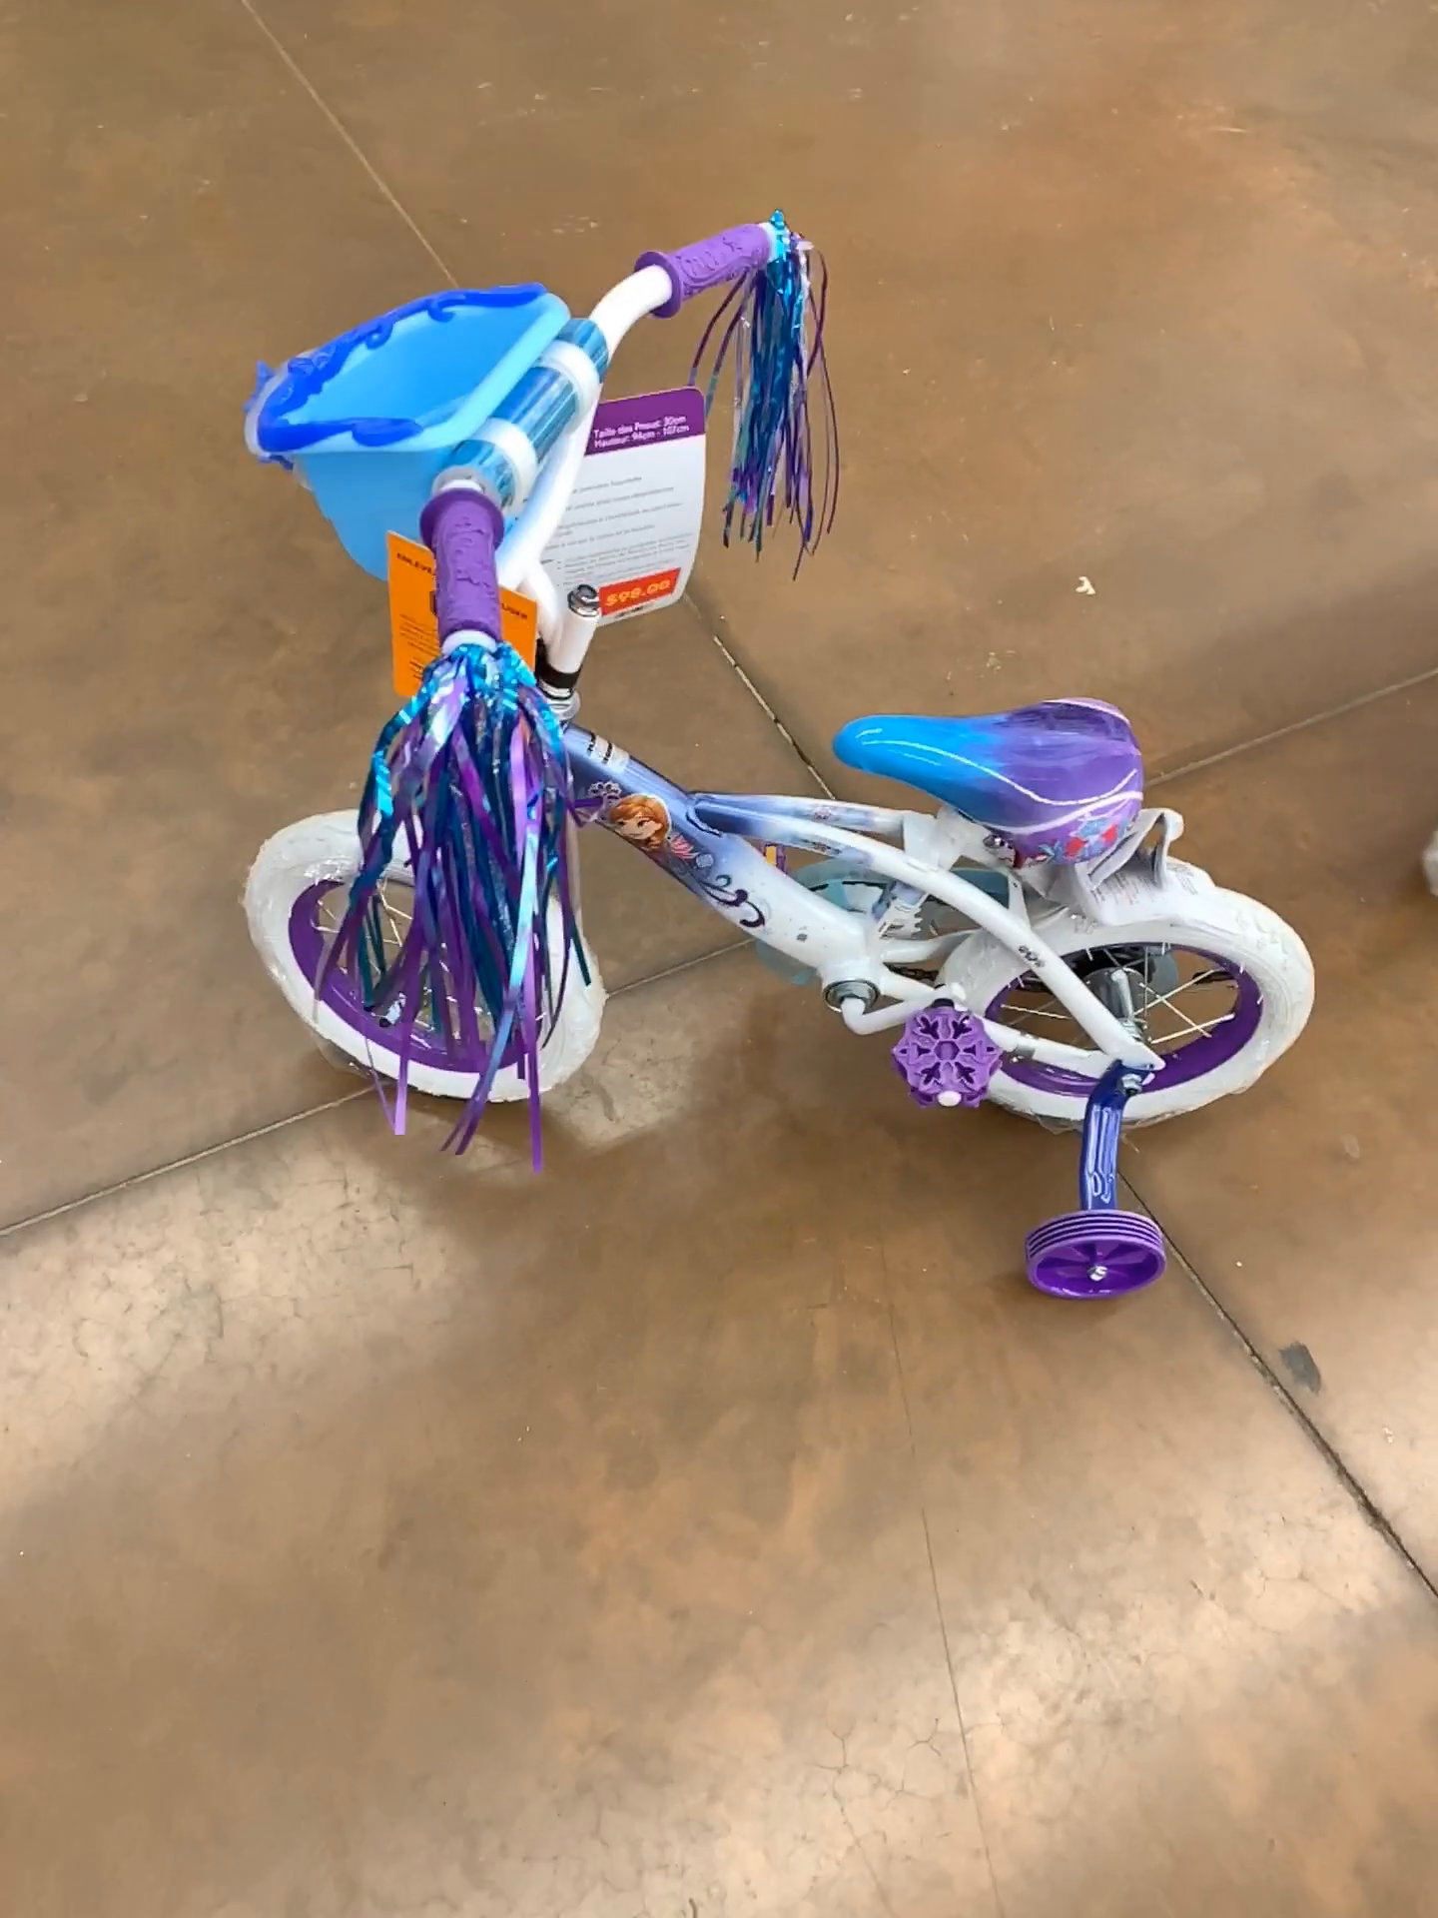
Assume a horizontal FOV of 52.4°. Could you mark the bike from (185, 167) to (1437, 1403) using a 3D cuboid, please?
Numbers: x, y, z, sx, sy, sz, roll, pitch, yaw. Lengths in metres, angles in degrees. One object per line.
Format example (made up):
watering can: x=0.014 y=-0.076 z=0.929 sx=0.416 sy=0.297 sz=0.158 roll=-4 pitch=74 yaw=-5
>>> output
bike: x=0.129 y=-0.067 z=0.965 sx=0.651 sy=0.643 sz=0.474 roll=1 pitch=54 yaw=-4
